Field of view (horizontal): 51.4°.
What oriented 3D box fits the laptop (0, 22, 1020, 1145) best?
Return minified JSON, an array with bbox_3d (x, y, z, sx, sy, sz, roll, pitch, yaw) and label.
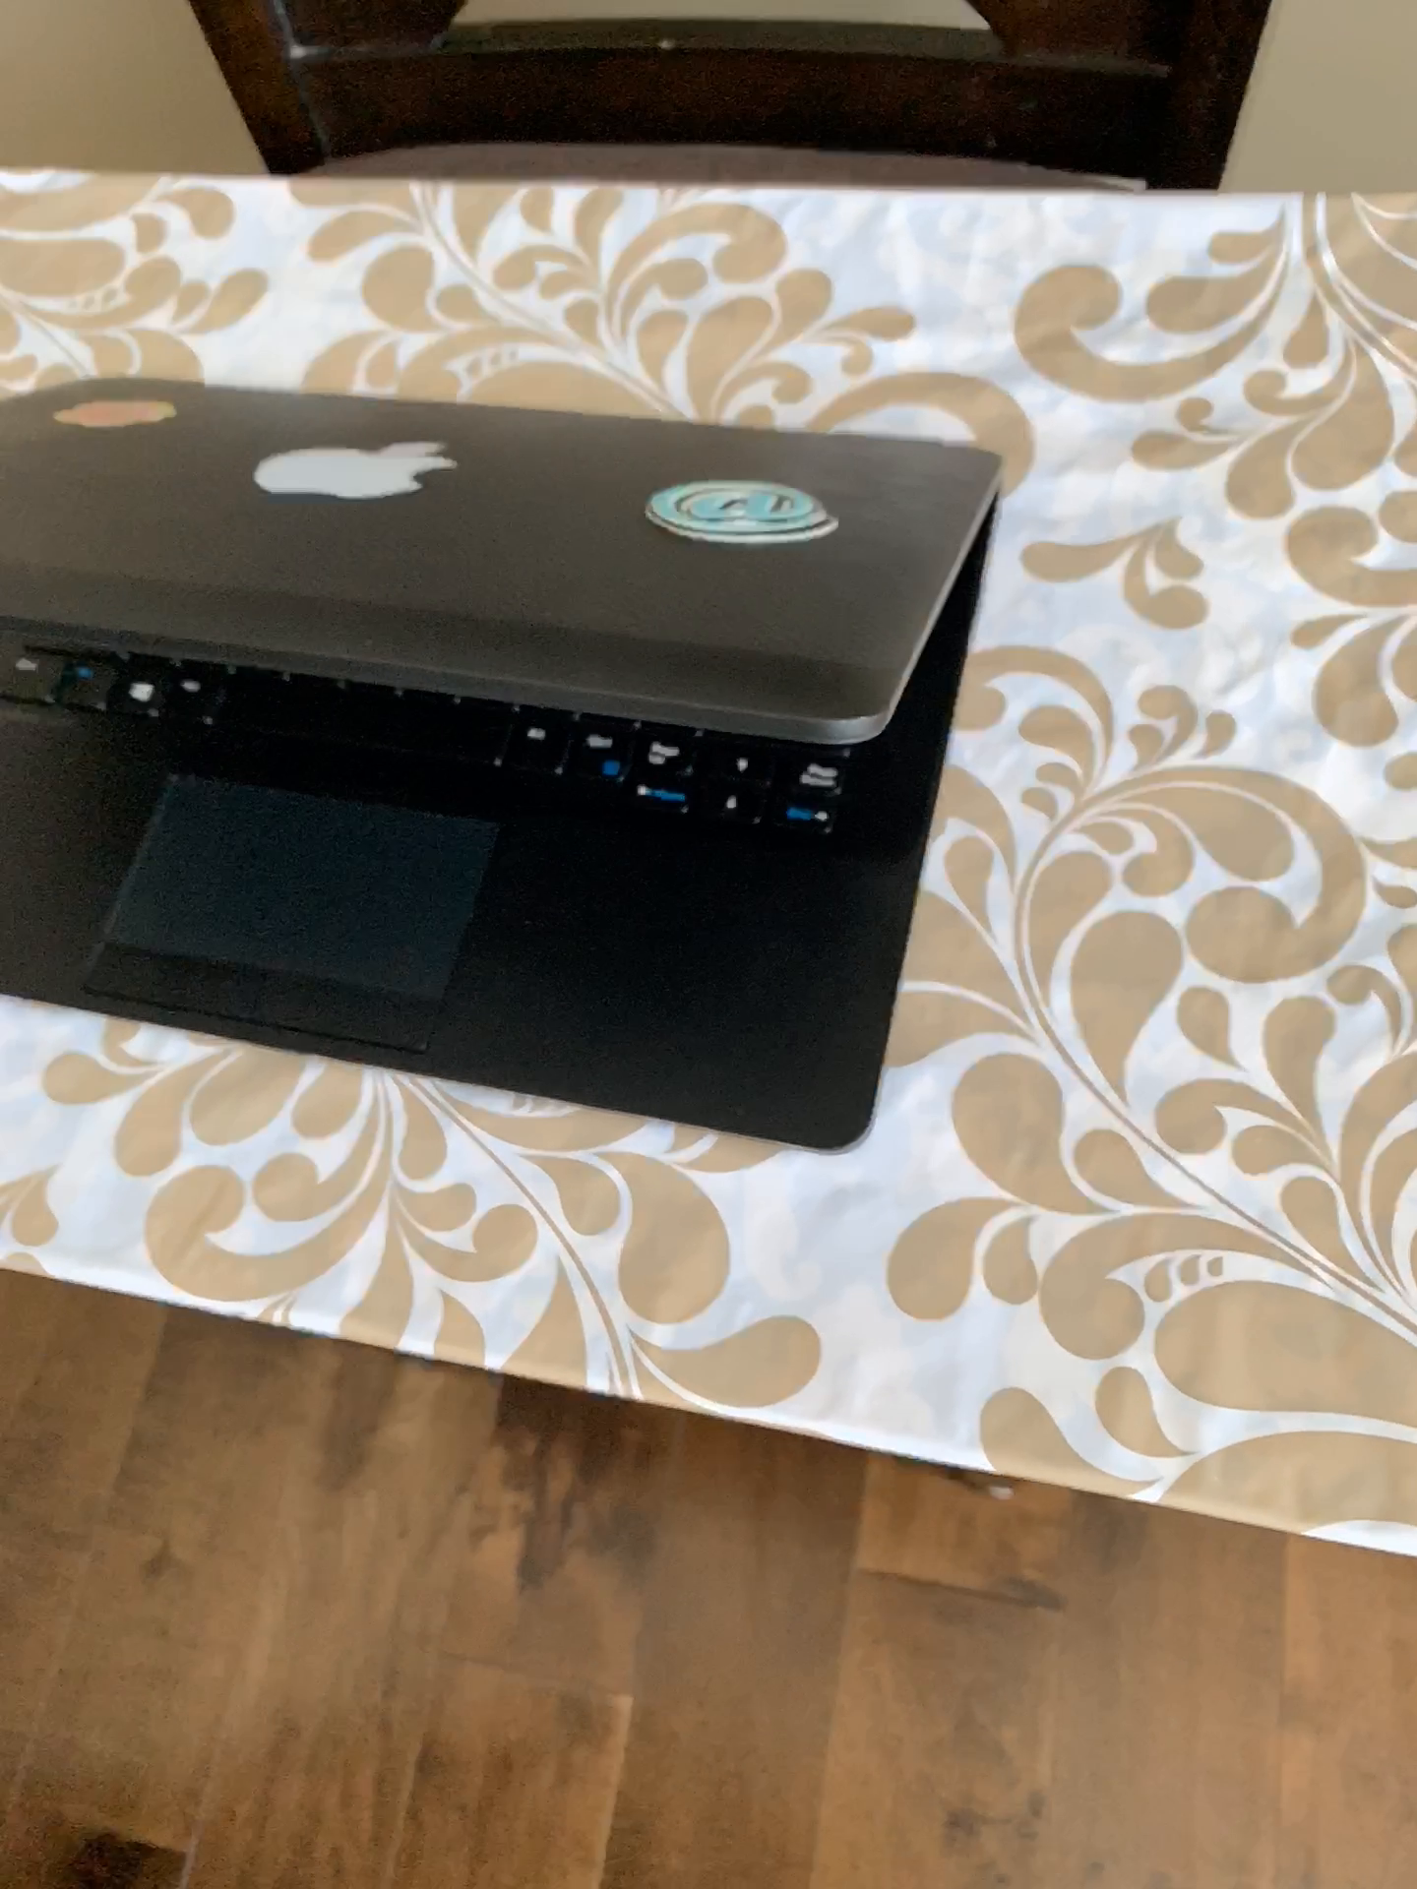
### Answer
[{"bbox_3d":[-0.094,-0.093,0.357,0.300,0.127,0.199,10,67,12],"label":"laptop"}]
